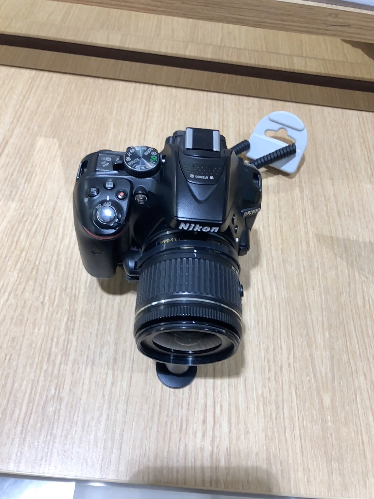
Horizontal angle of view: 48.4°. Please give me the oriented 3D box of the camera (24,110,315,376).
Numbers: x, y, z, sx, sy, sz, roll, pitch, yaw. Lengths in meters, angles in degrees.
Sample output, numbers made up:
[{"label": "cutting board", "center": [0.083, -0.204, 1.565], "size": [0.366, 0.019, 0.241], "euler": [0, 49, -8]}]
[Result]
[{"label": "camera", "center": [-0.010, 0.001, 0.244], "size": [0.120, 0.102, 0.111], "euler": [4, 56, -4]}]
